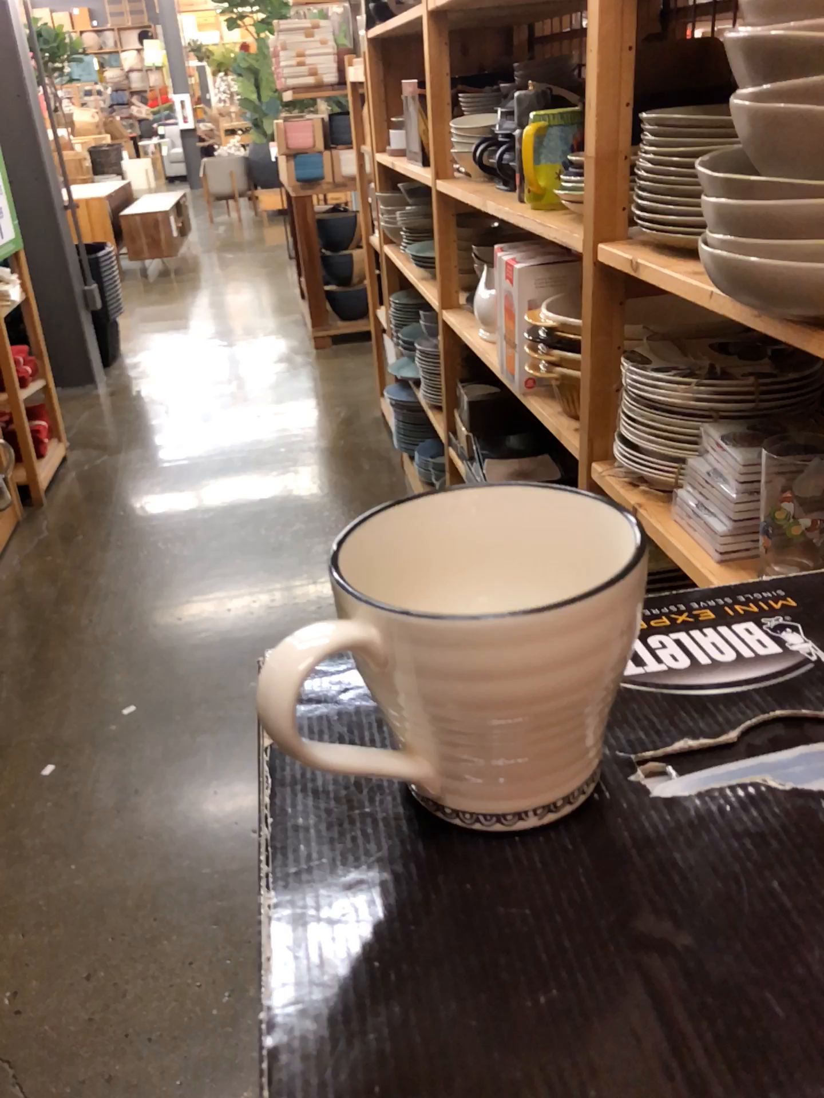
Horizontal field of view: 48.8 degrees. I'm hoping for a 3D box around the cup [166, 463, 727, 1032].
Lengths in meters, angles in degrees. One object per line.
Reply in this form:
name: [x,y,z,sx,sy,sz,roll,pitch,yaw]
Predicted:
cup: [0.017,0.043,0.277,0.102,0.084,0.130,17,34,37]
